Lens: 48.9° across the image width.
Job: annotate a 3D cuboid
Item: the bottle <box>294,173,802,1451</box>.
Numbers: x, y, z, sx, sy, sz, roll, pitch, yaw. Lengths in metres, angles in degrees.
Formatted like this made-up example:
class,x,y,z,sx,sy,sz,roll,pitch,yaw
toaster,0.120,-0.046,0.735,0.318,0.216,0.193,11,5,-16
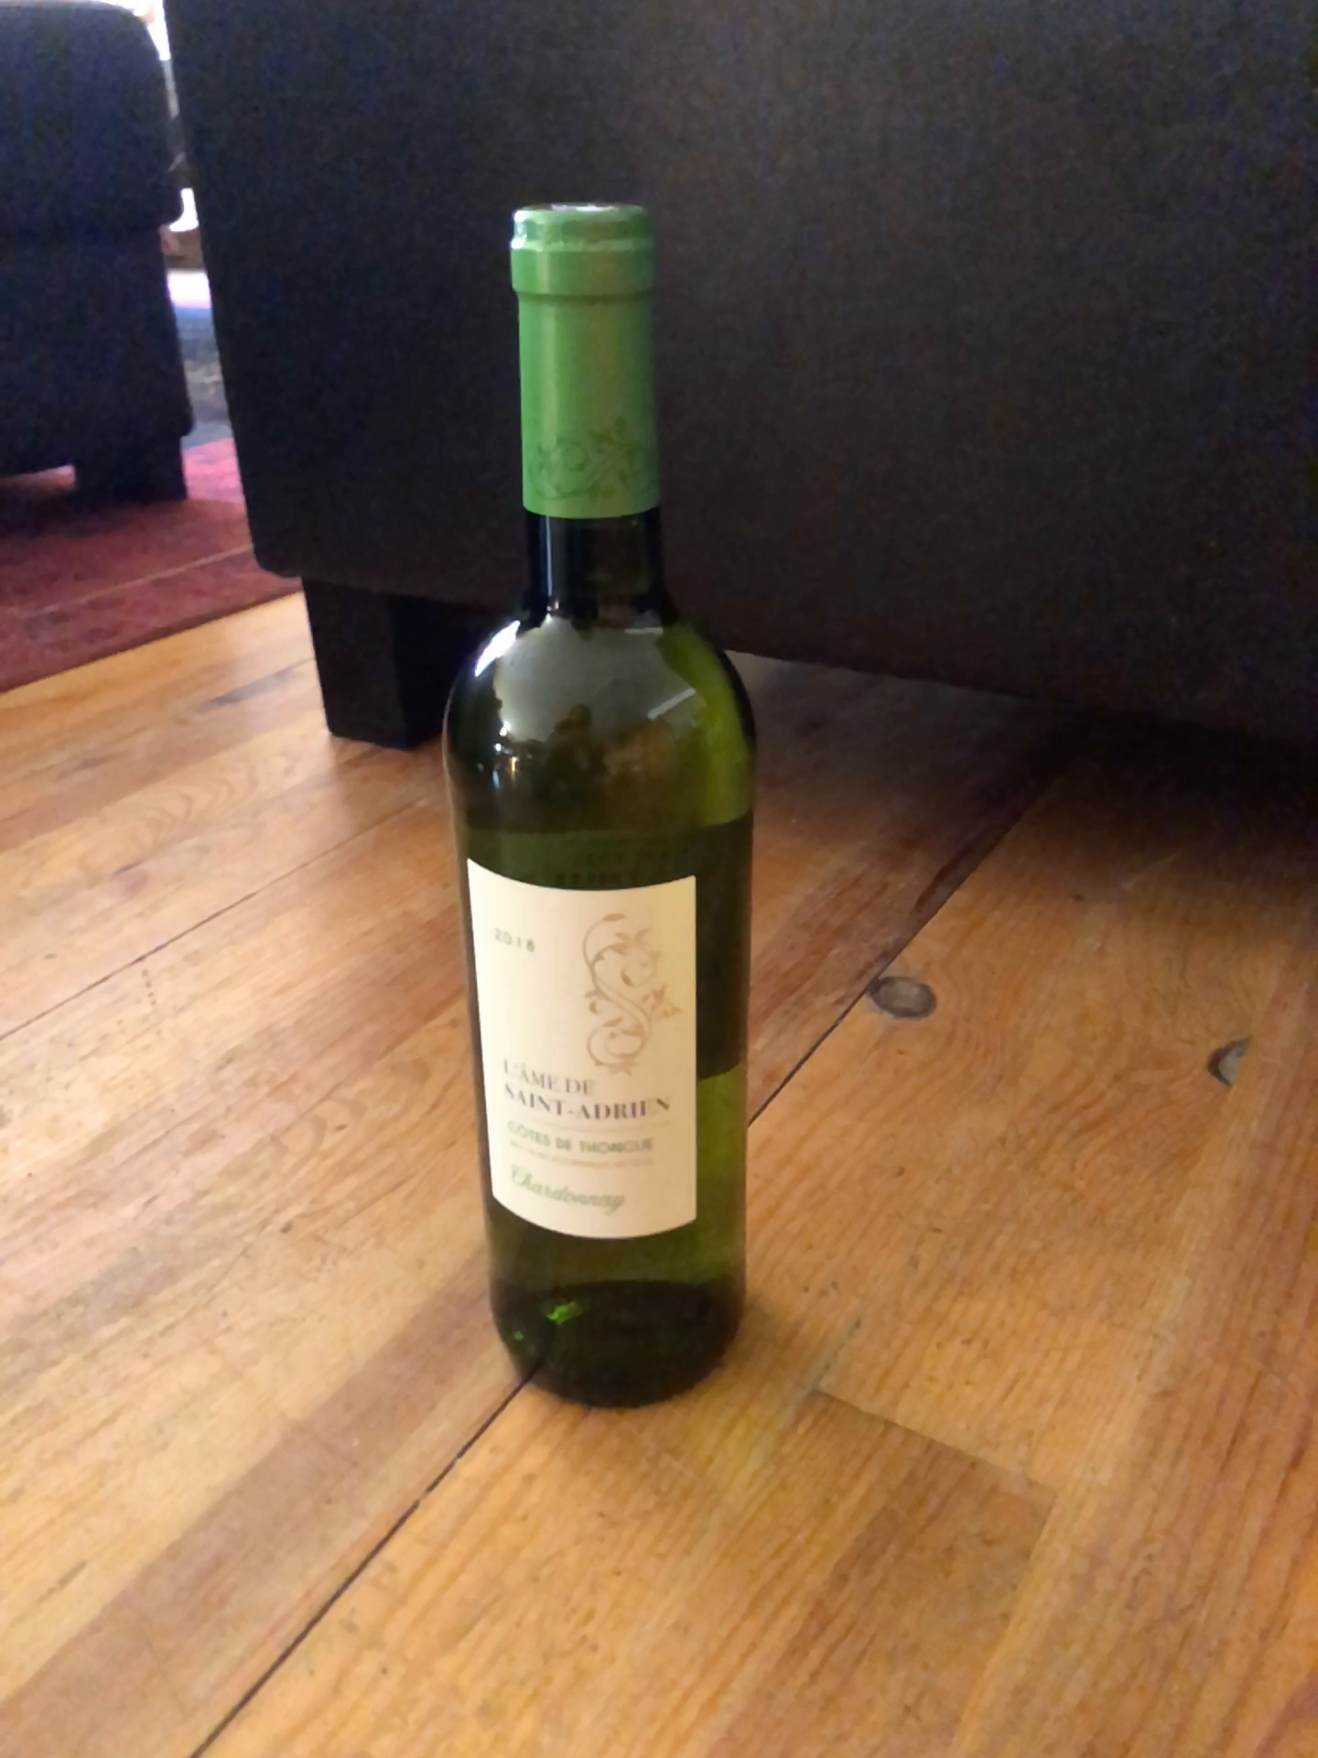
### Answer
class,x,y,z,sx,sy,sz,roll,pitch,yaw
bottle,-0.014,-0.005,0.355,0.080,0.298,0.081,-1,27,1
